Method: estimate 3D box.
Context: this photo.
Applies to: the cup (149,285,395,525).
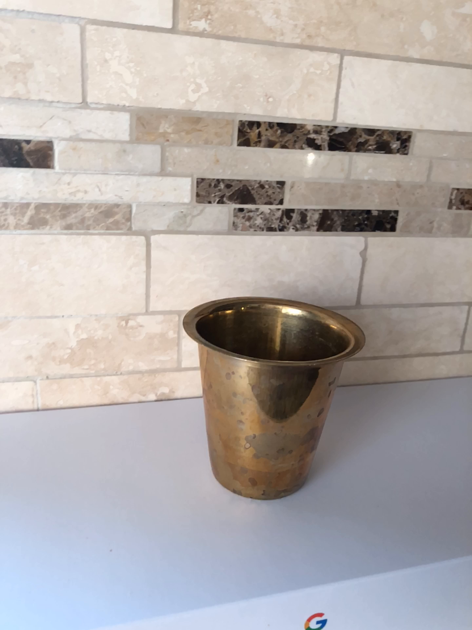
[{"bbox_3d":[0.010,0.033,0.242,0.083,0.071,0.075,-3,21,-20],"label":"cup"}]
